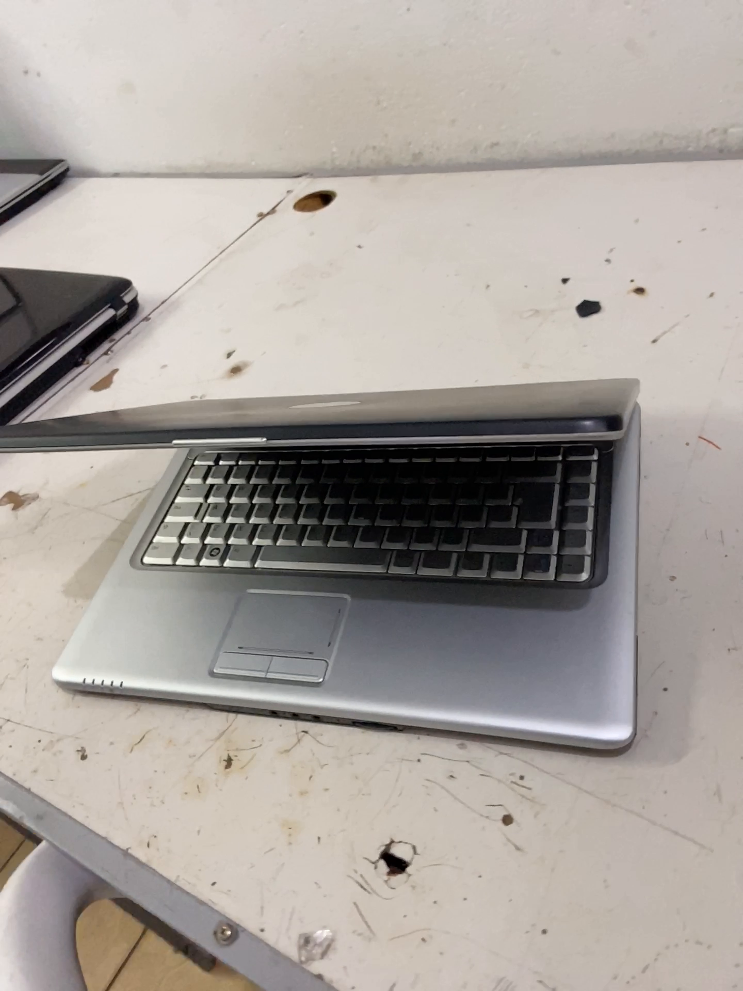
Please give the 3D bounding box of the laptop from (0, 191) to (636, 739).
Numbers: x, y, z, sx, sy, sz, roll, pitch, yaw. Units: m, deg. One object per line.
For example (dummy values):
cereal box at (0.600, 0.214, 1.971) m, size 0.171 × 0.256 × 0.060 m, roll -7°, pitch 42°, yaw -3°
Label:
laptop at (-0.032, -0.024, 0.446) m, size 0.347 × 0.145 × 0.238 m, roll 0°, pitch 47°, yaw 20°
